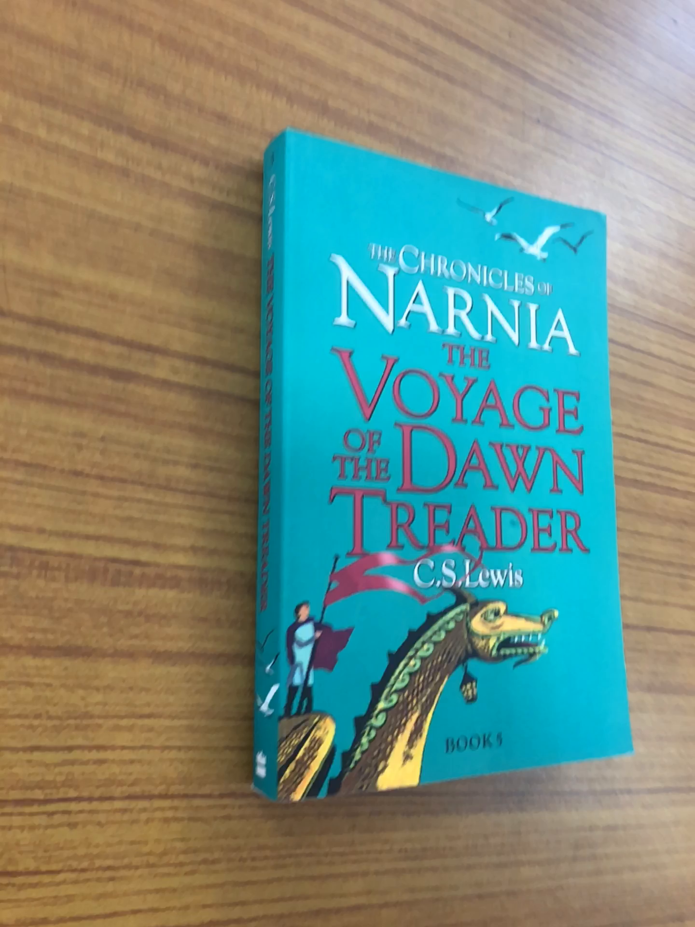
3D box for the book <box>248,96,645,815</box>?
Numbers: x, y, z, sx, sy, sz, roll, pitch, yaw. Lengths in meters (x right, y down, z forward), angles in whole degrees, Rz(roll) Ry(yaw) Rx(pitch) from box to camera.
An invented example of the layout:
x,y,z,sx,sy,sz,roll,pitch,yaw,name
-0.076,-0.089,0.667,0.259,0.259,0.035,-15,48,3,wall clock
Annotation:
x,y,z,sx,sy,sz,roll,pitch,yaw,name
0.036,-0.003,0.258,0.131,0.030,0.200,4,82,-27,book
